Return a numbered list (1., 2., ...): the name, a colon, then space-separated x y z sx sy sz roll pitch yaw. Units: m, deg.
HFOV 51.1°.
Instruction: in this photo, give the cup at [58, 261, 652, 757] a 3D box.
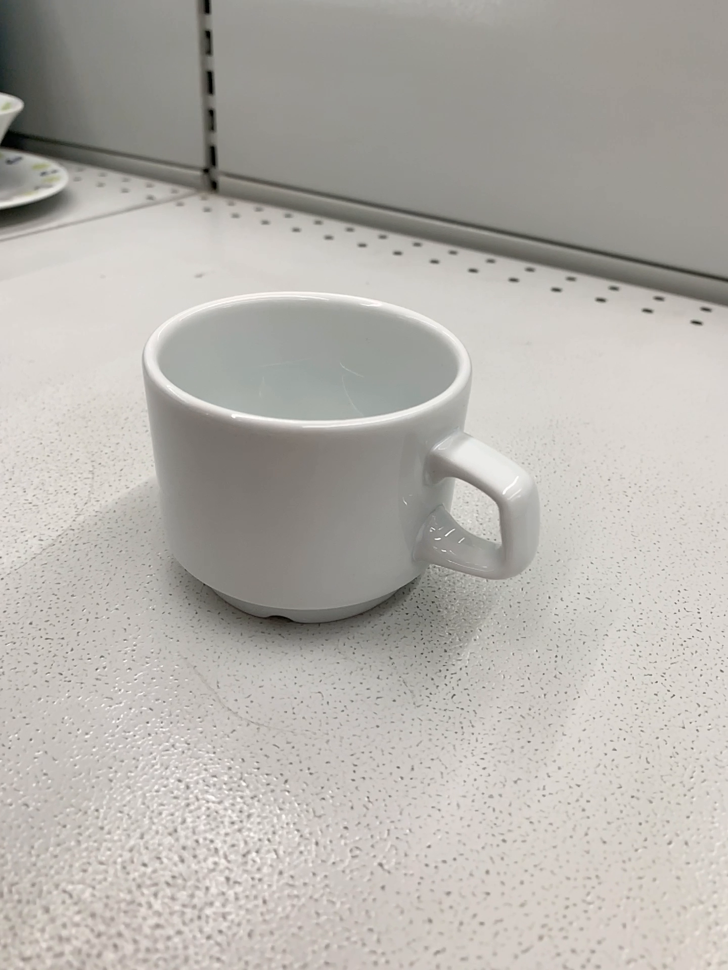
1. cup: -0.002 -0.006 0.185 0.105 0.056 0.082 23 38 27
